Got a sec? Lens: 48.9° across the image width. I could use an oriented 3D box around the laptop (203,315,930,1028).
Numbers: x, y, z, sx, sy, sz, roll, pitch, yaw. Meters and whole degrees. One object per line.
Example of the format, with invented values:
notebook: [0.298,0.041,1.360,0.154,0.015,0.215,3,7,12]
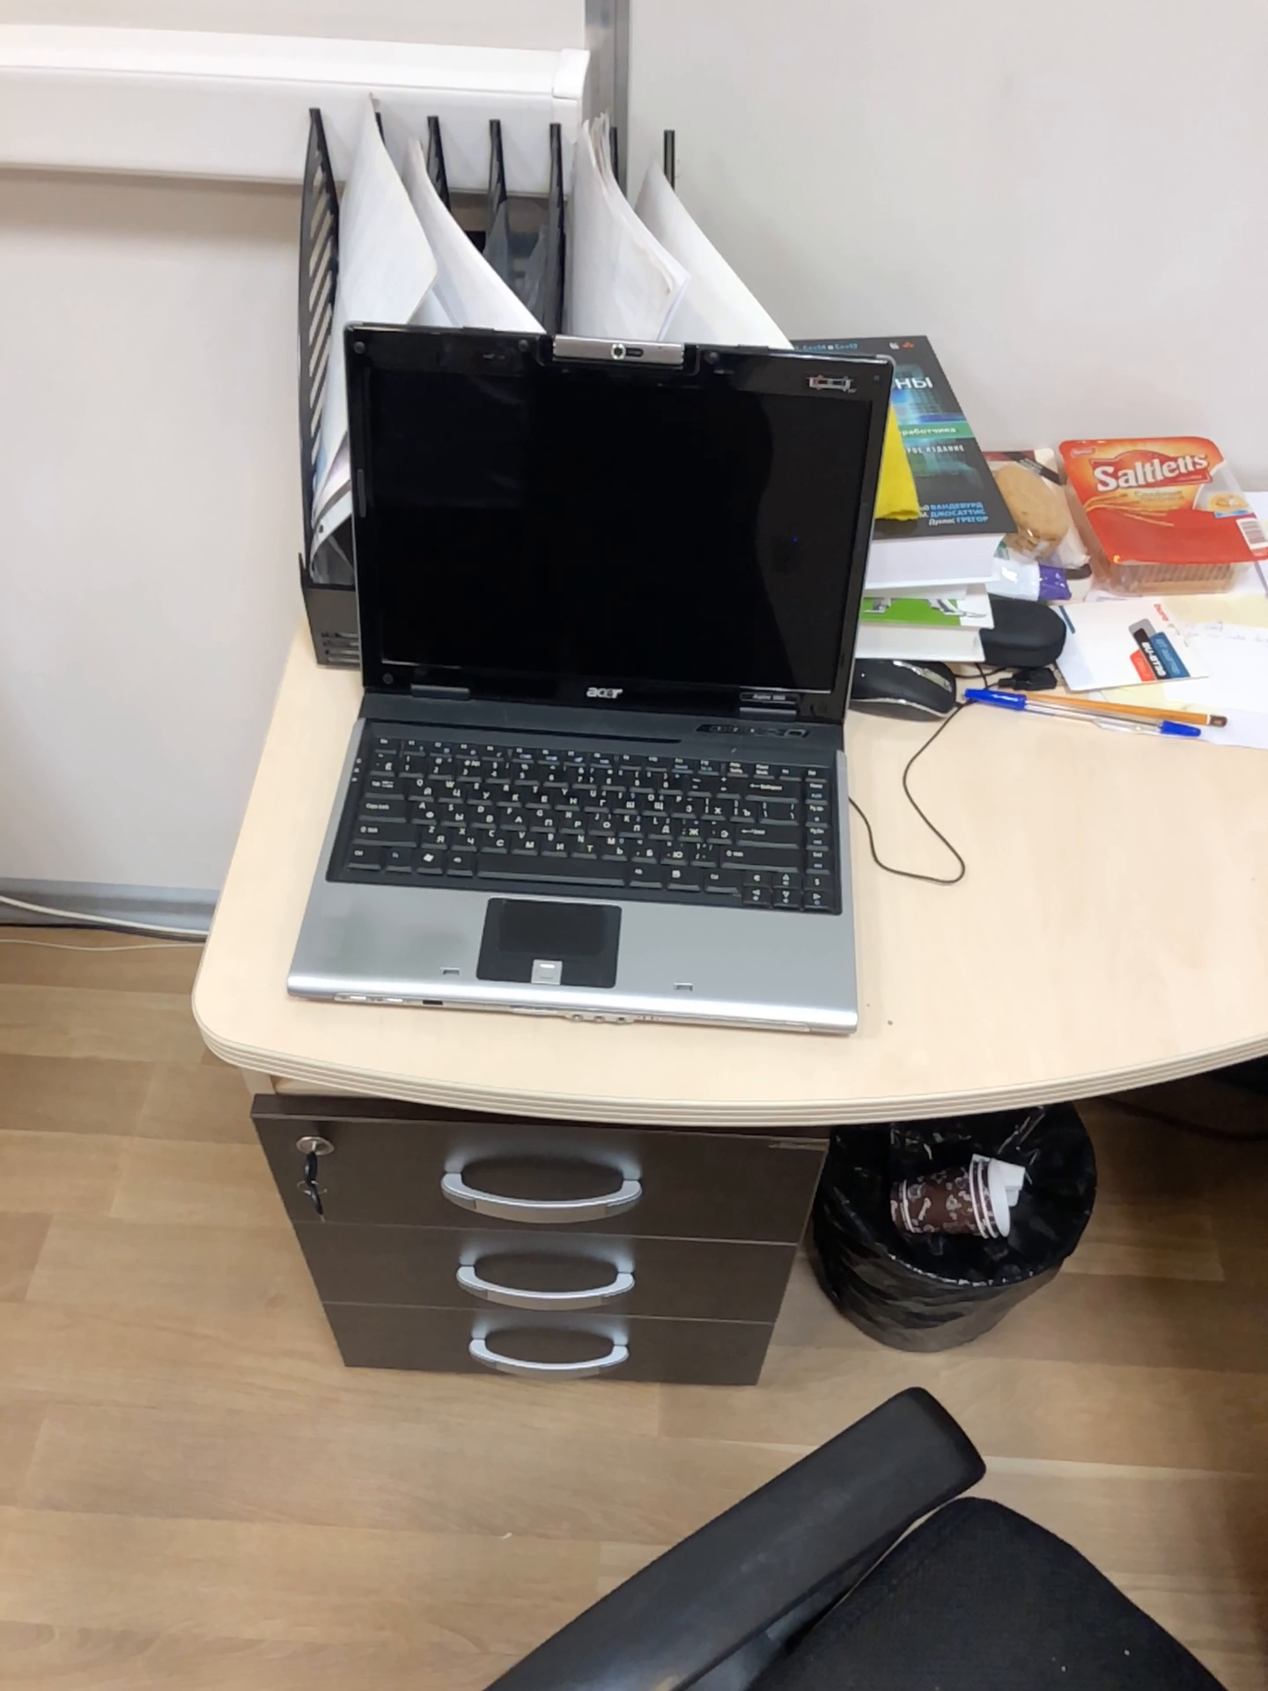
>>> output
laptop: [-0.023,-0.105,0.806,0.325,0.219,0.324,4,52,1]
